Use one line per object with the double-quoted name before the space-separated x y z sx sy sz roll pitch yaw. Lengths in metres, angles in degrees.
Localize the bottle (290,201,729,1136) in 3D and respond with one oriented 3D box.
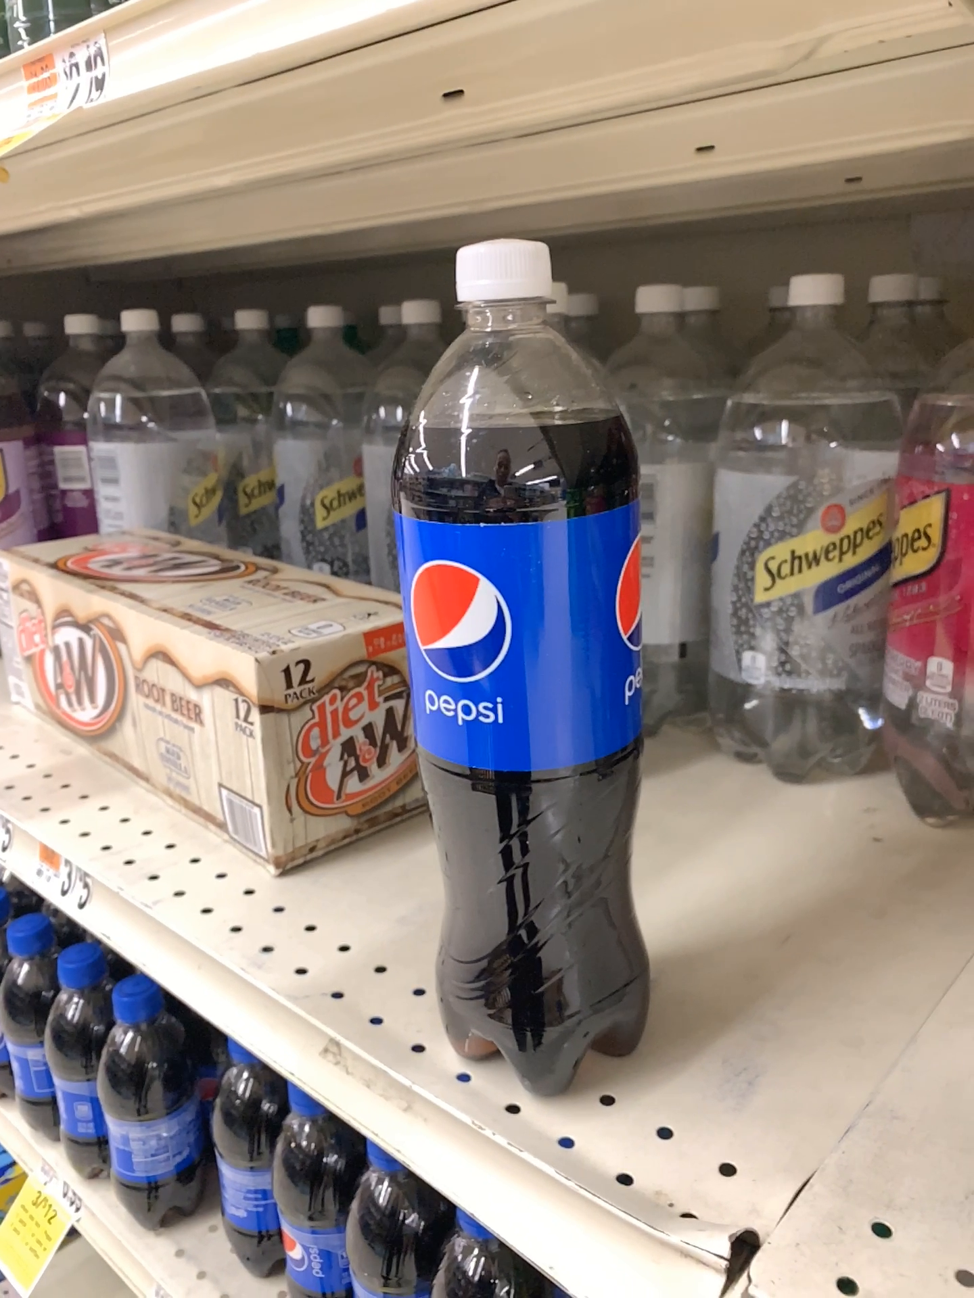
"bottle" 0.012 0.004 0.349 0.101 0.279 0.090 12 22 39
